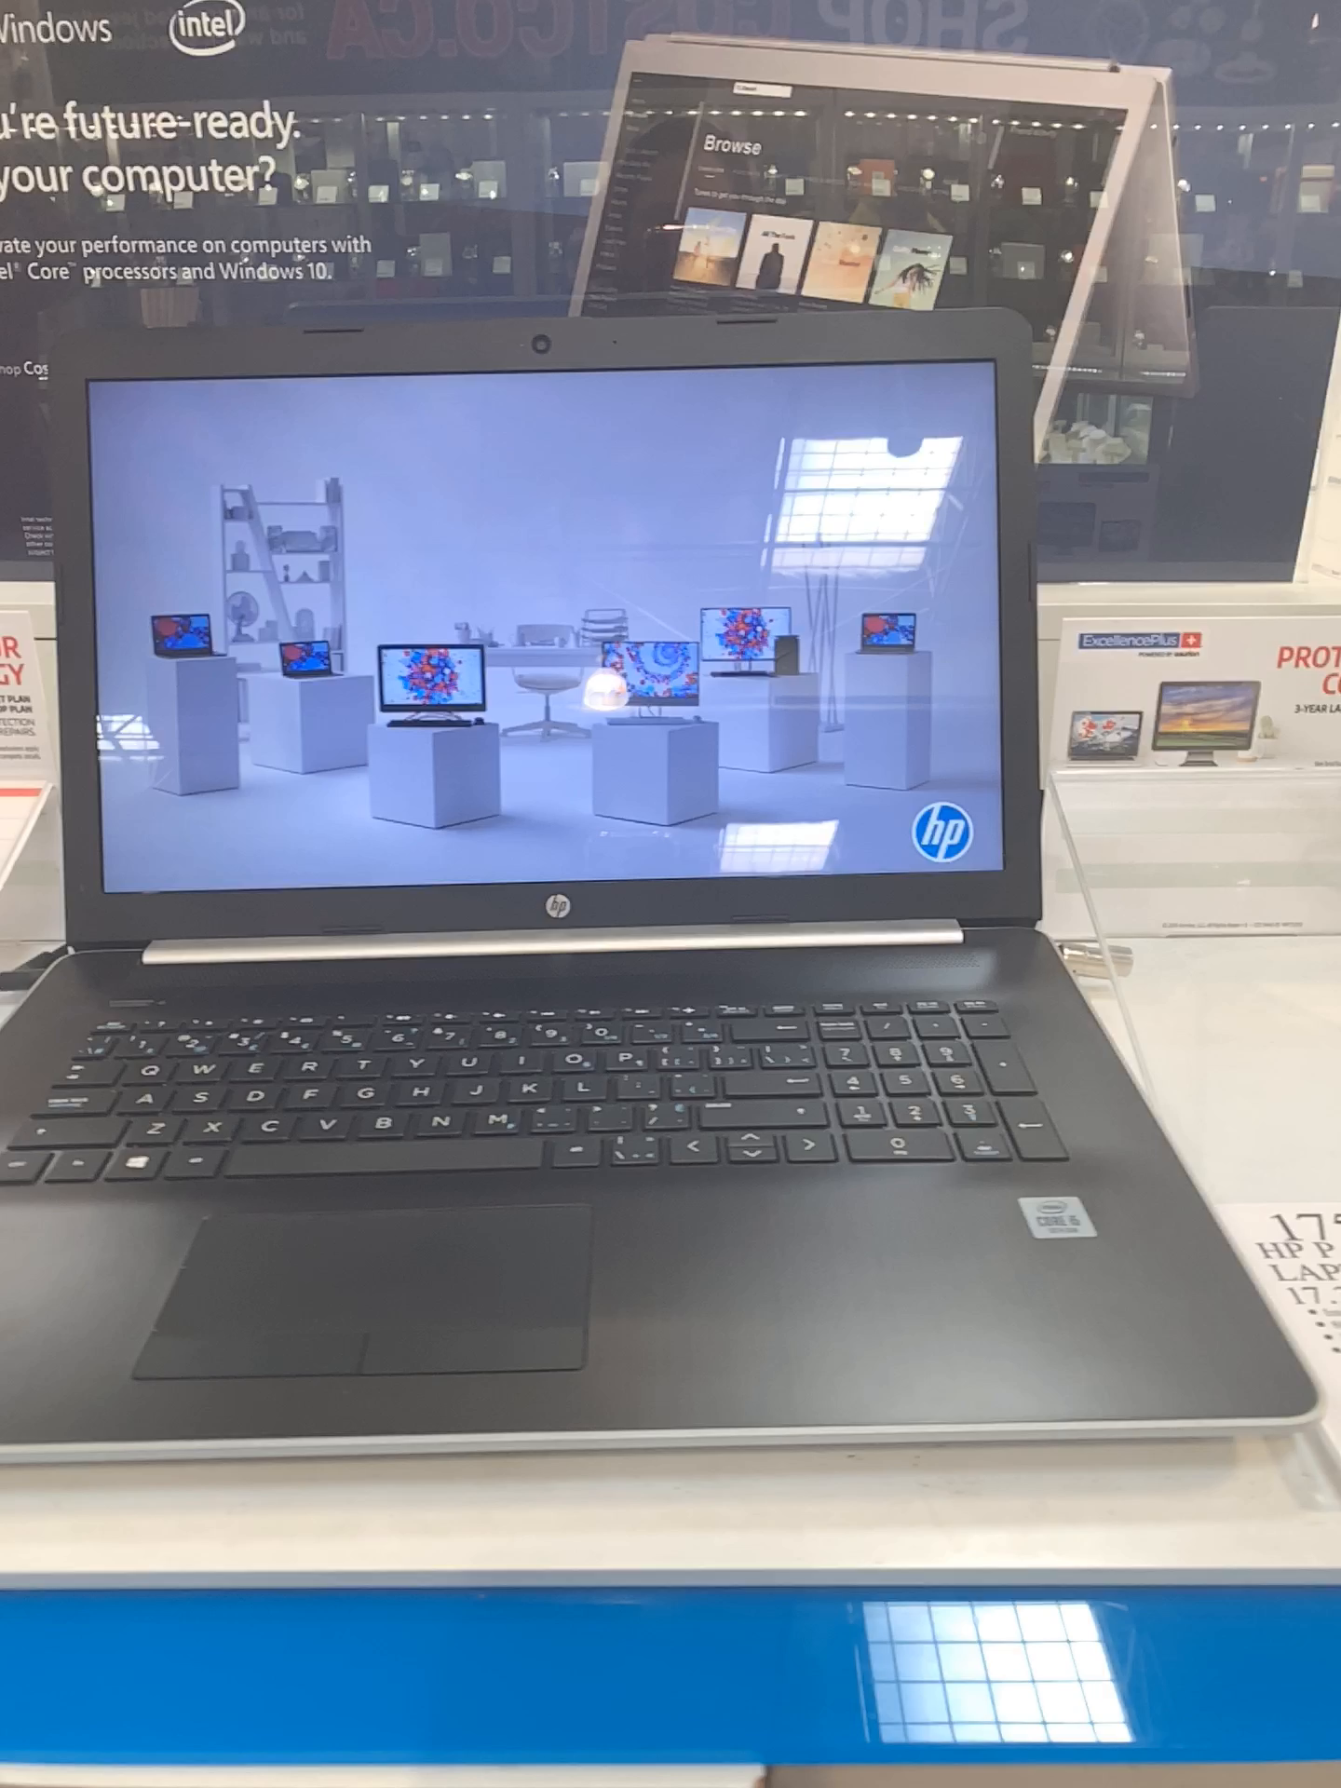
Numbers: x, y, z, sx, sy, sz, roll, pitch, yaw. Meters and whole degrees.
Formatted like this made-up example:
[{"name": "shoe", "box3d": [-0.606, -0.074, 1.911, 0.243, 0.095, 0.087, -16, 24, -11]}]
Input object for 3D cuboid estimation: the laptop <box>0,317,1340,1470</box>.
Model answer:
[{"name": "laptop", "box3d": [-0.044, -0.054, 0.443, 0.394, 0.234, 0.371, -1, 23, -1]}]
